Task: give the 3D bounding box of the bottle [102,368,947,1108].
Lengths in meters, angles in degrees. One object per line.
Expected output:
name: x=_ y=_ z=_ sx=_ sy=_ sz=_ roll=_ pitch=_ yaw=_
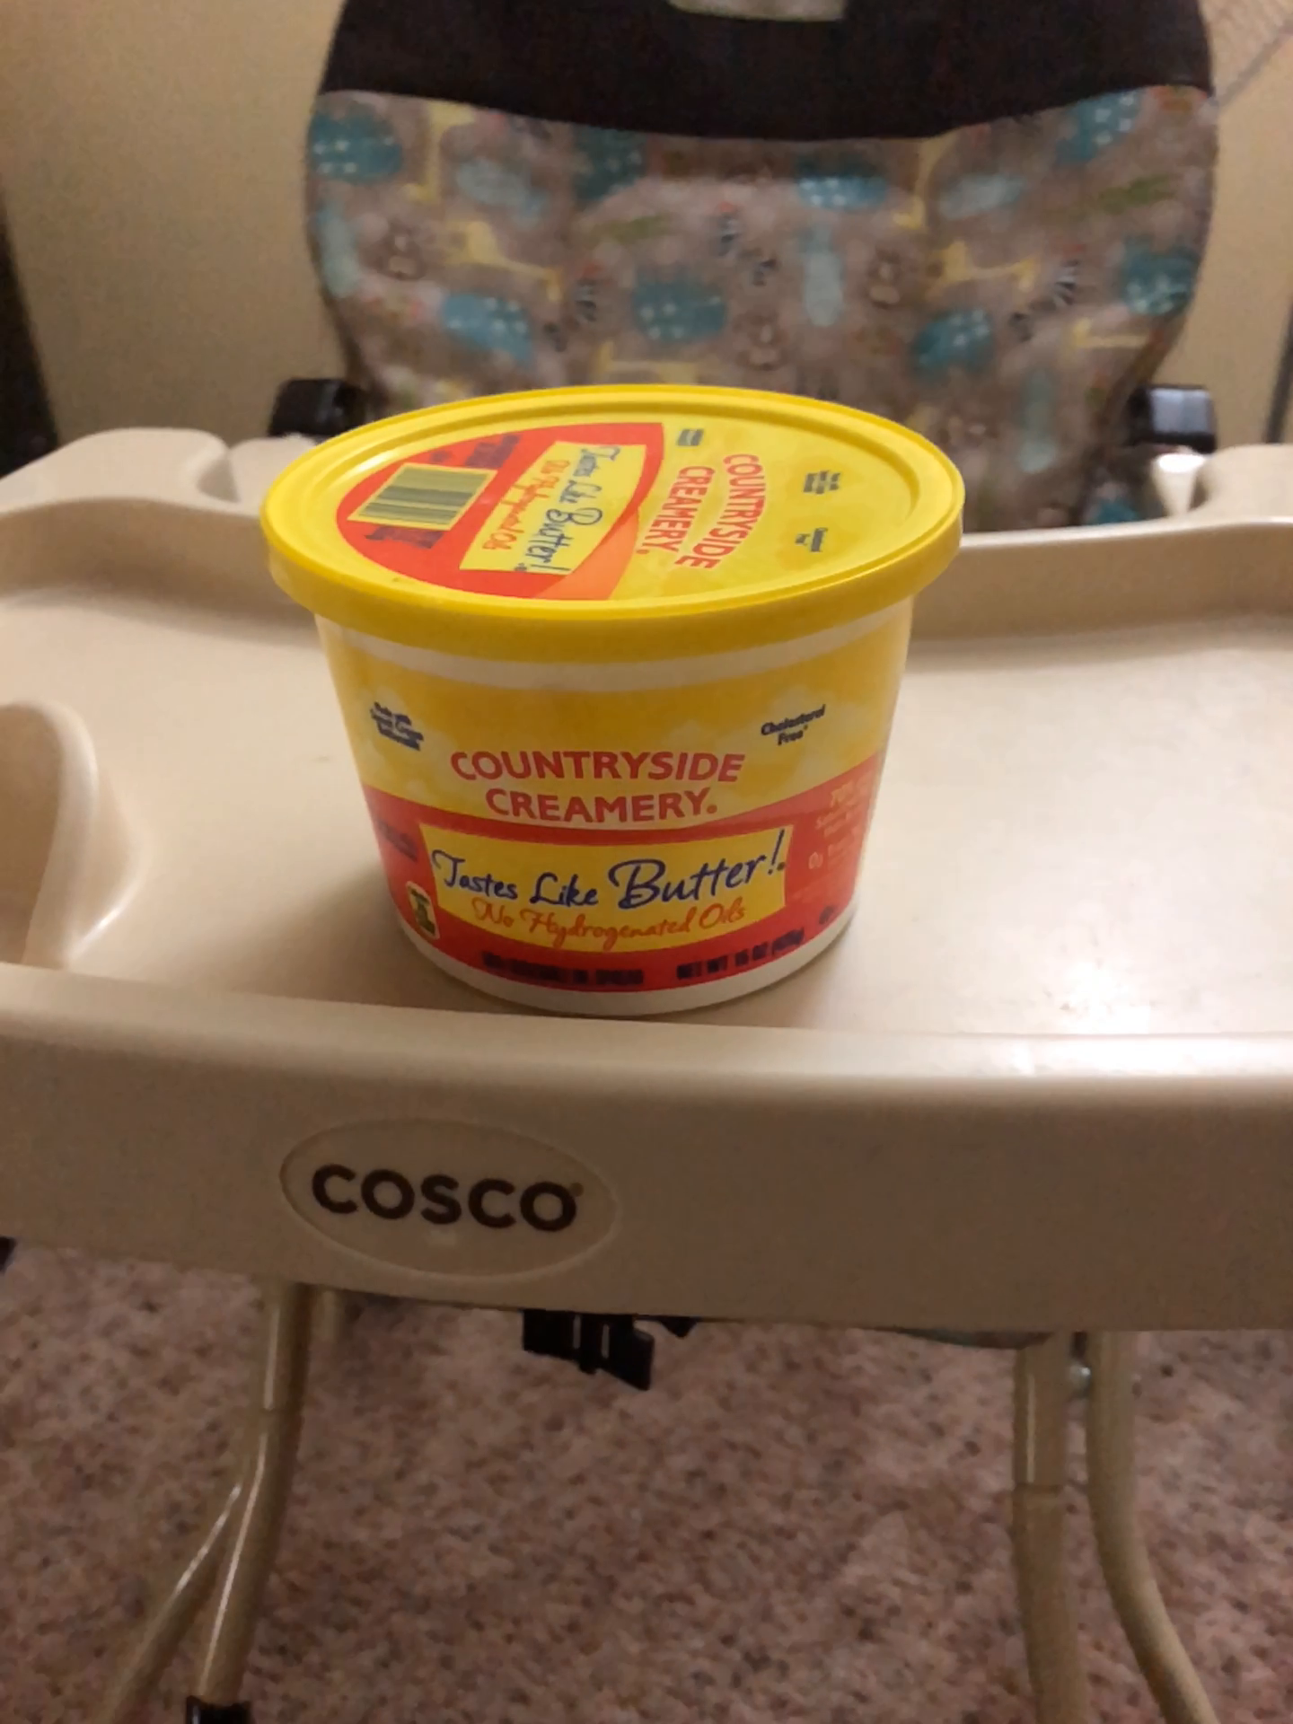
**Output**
bottle: x=-0.009 y=-0.031 z=0.272 sx=0.120 sy=0.090 sz=0.110 roll=-1 pitch=33 yaw=1
